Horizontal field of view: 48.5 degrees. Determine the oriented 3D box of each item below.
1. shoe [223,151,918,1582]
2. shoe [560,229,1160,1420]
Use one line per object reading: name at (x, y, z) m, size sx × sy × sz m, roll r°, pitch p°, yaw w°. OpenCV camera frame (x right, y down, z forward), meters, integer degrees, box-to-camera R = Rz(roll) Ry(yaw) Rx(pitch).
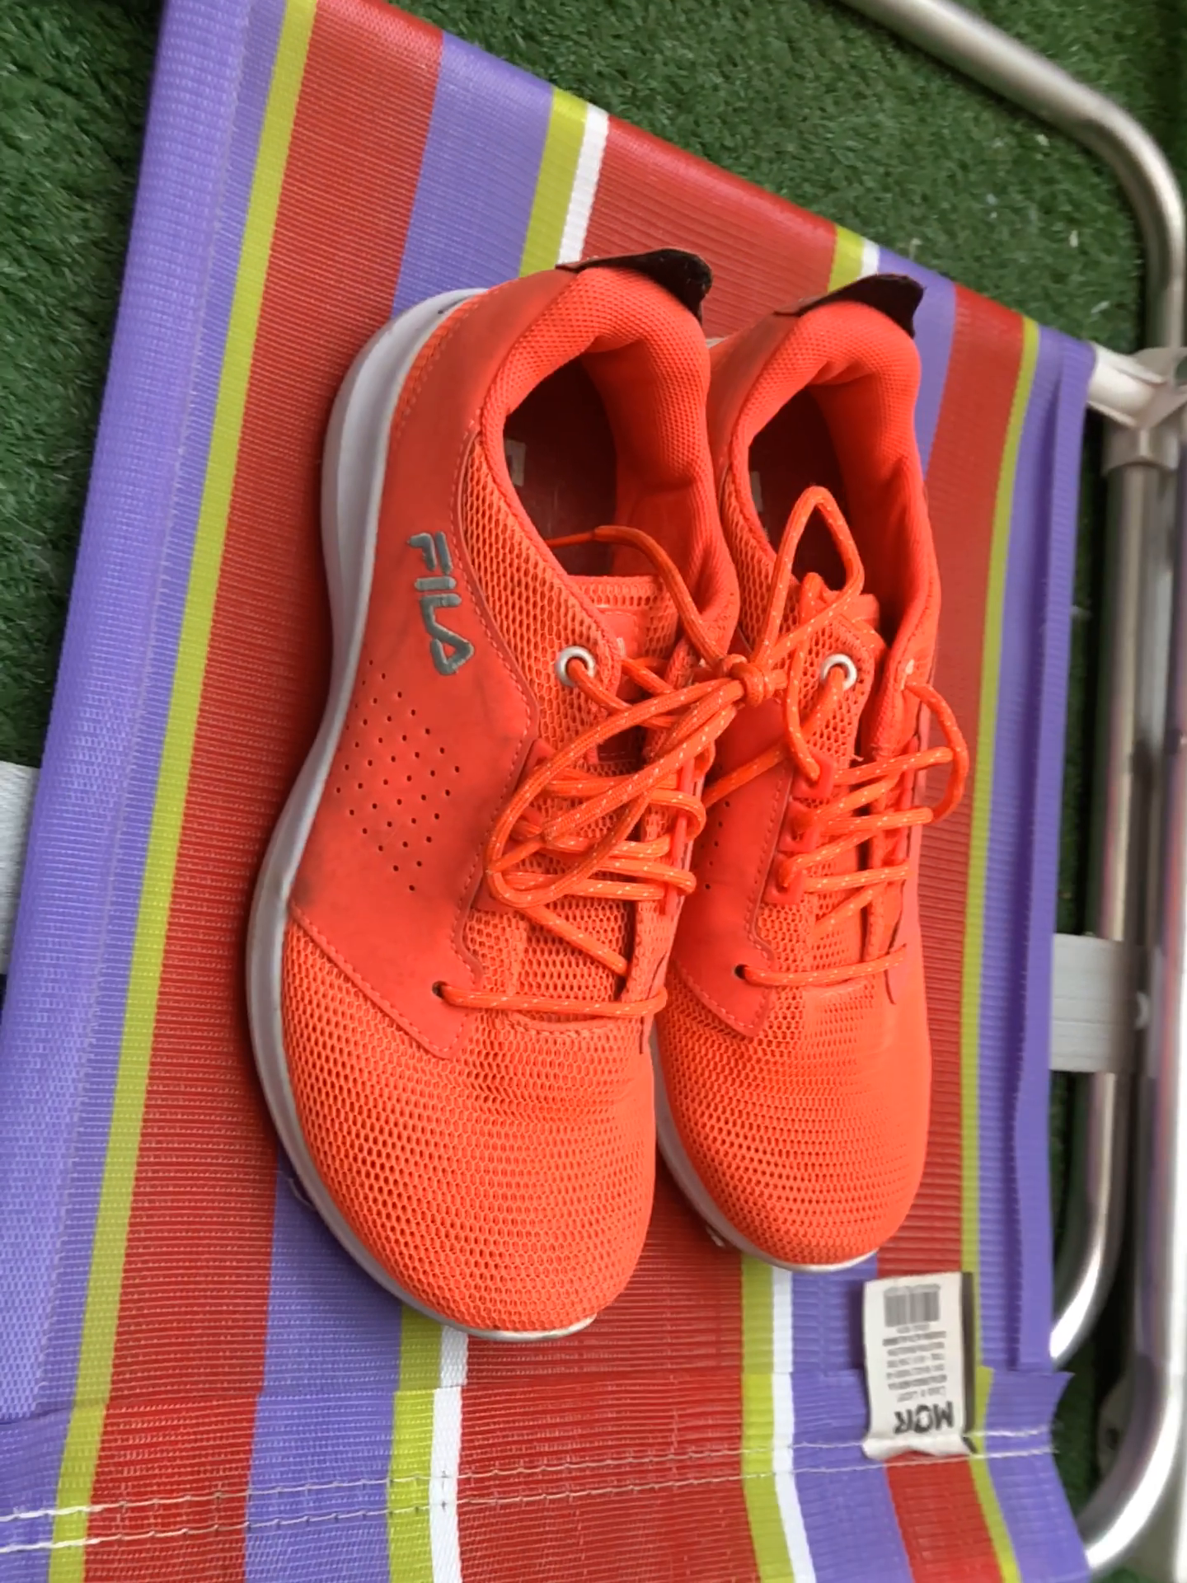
shoe at (-0.008, 0.017, 0.272) m, size 0.101 × 0.099 × 0.230 m, roll 4°, pitch 84°, yaw -34°
shoe at (0.063, 0.006, 0.339) m, size 0.100 × 0.090 × 0.250 m, roll -2°, pitch 86°, yaw -28°
